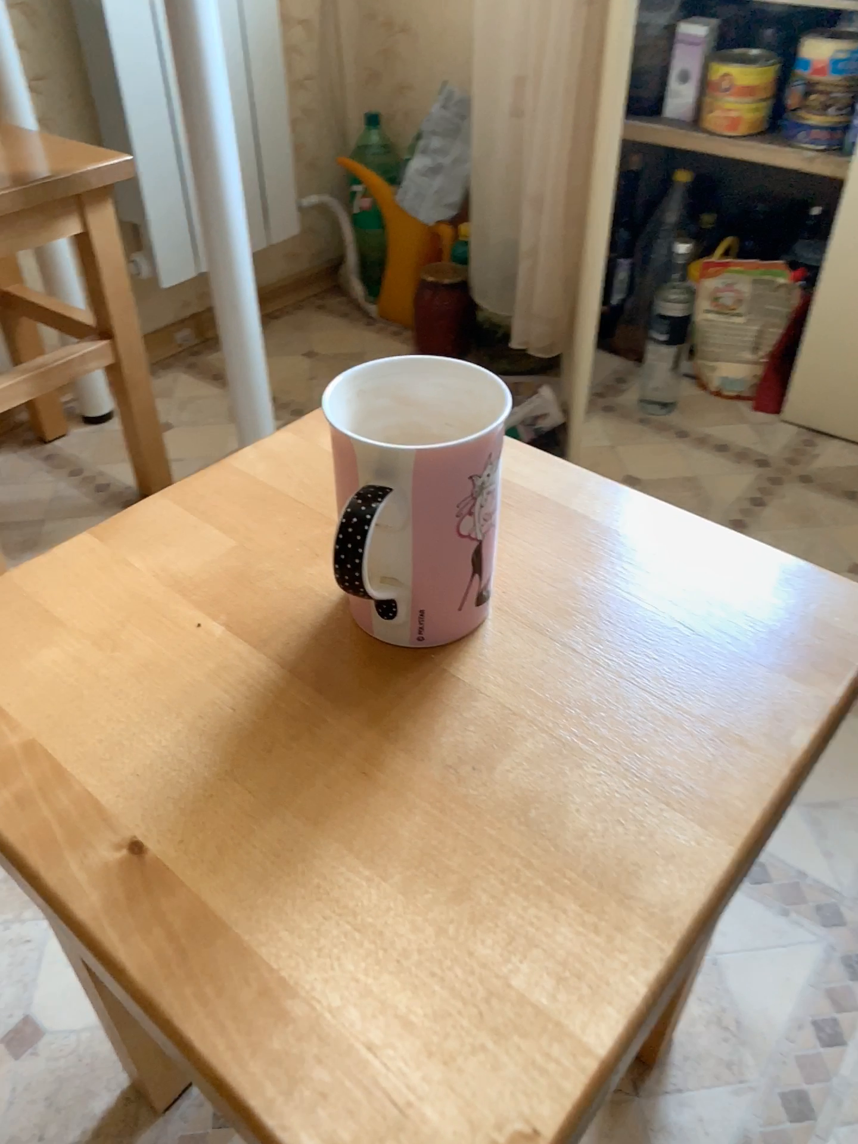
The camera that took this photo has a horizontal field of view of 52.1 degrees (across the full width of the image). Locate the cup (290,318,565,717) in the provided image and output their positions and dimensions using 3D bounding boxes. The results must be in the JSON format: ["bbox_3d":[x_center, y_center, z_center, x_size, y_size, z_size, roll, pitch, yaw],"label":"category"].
[{"bbox_3d":[0.005,-0.026,0.360,0.074,0.107,0.114,10,40,12],"label":"cup"}]
